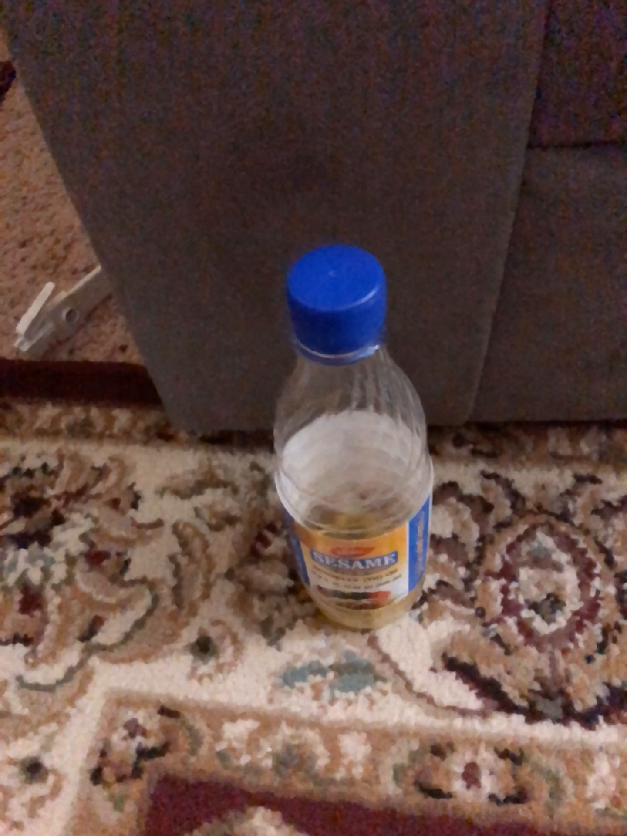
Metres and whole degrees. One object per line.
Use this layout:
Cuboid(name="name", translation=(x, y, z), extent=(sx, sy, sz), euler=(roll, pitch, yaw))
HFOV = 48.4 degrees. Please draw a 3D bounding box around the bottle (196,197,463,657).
Cuboid(name="bottle", translation=(0.019, 0.021, 0.279), extent=(0.070, 0.200, 0.070), euler=(-5, 50, 5))
